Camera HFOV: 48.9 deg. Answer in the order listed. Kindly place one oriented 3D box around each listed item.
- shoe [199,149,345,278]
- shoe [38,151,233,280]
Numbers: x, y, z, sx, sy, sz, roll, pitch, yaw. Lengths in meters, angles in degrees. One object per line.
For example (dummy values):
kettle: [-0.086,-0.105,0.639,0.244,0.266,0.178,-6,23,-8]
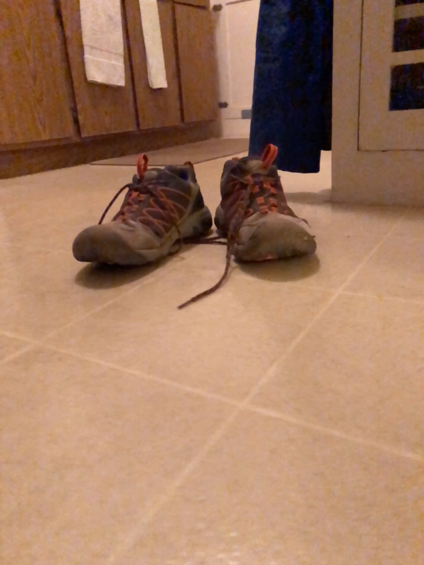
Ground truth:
shoe: [0.072,-0.119,0.688,0.127,0.121,0.283,-8,21,-9]
shoe: [-0.093,-0.118,0.705,0.127,0.121,0.293,7,24,28]
